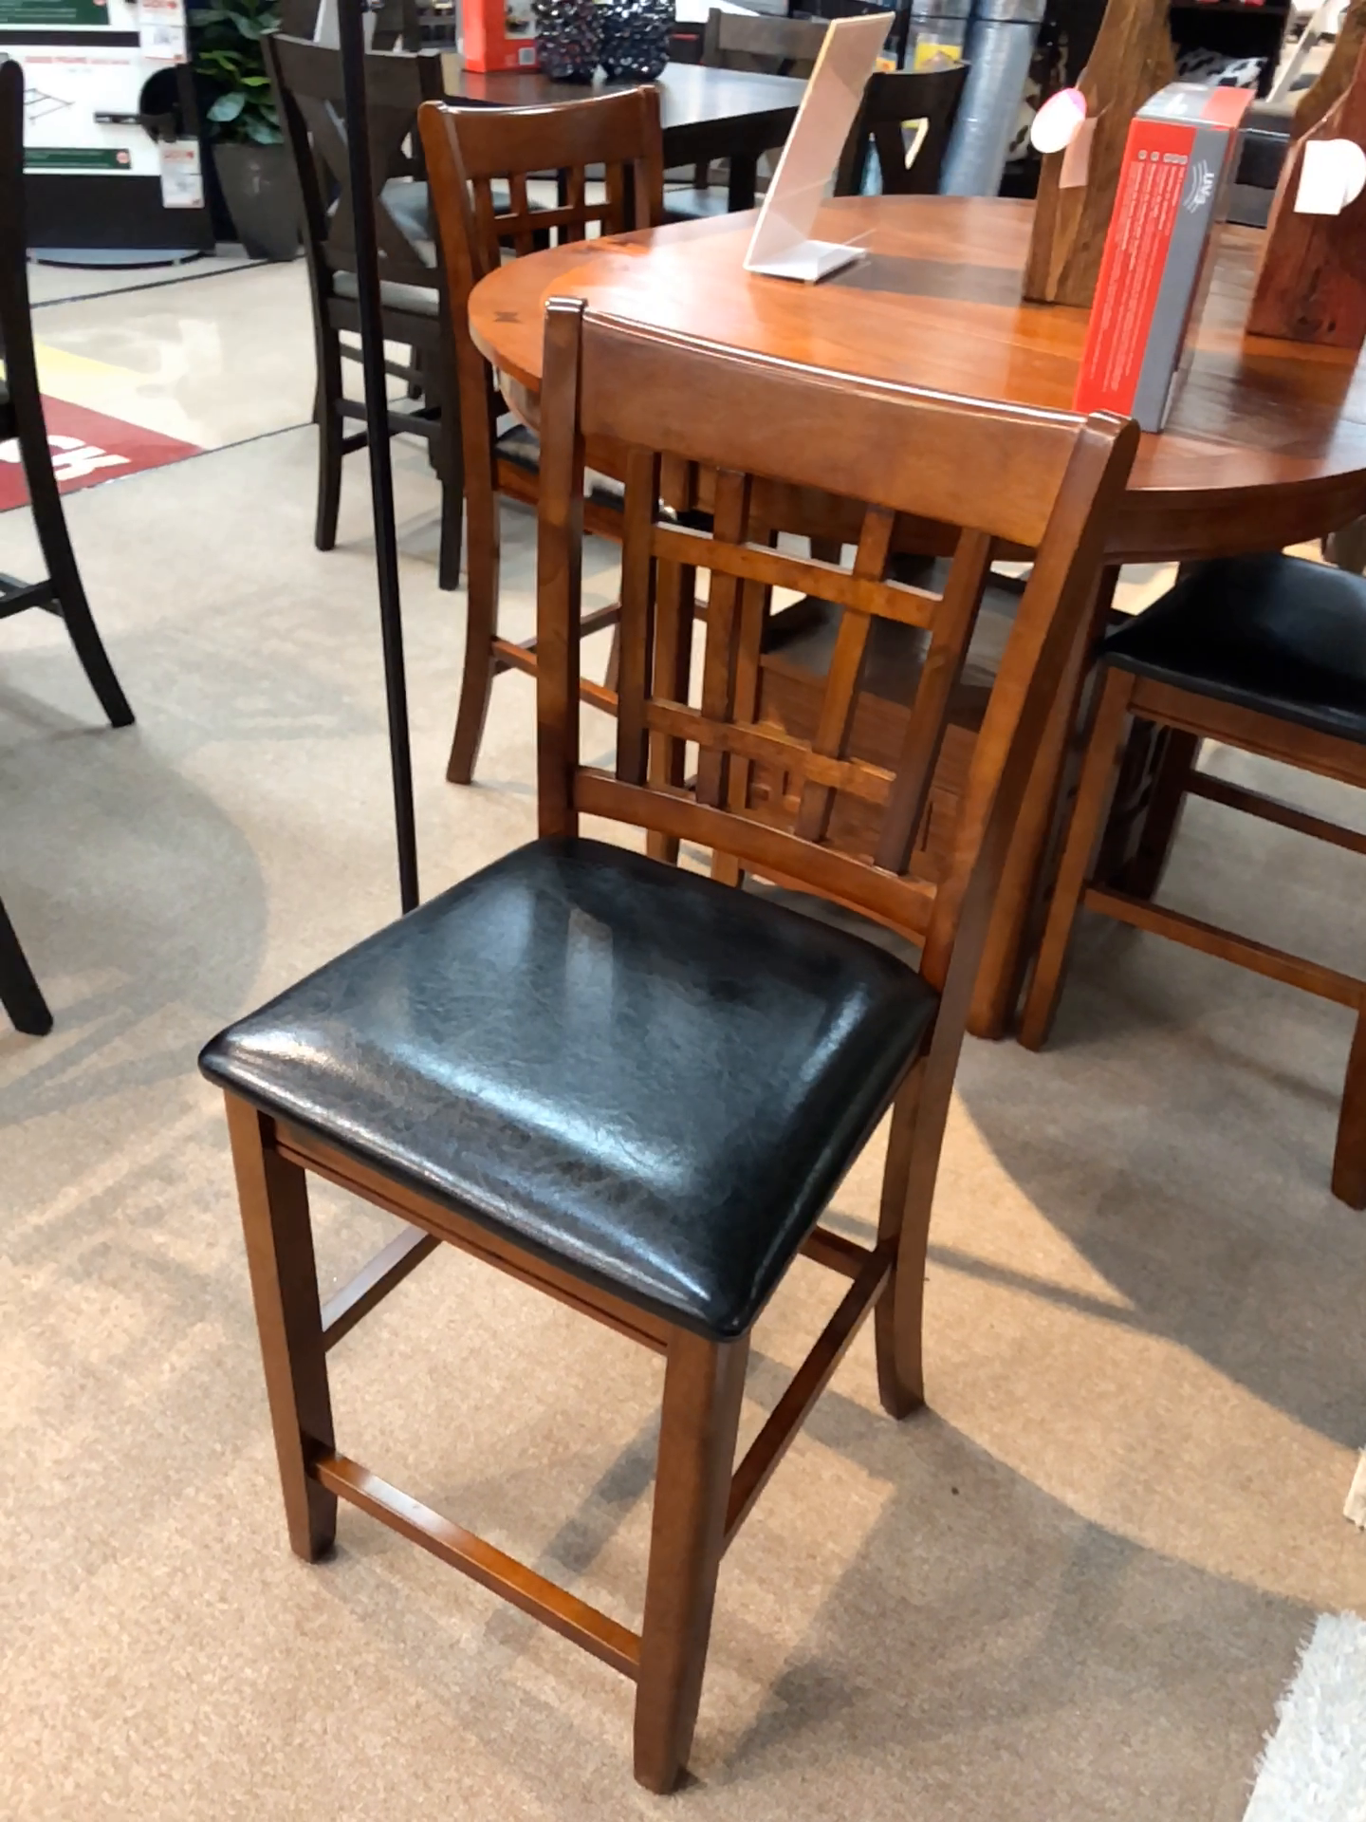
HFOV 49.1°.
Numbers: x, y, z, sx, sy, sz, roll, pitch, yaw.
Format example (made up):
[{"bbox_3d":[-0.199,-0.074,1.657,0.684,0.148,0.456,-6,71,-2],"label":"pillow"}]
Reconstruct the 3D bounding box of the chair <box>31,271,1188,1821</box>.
[{"bbox_3d":[-0.036,0.101,1.145,0.471,0.963,0.522,21,38,23],"label":"chair"}]
